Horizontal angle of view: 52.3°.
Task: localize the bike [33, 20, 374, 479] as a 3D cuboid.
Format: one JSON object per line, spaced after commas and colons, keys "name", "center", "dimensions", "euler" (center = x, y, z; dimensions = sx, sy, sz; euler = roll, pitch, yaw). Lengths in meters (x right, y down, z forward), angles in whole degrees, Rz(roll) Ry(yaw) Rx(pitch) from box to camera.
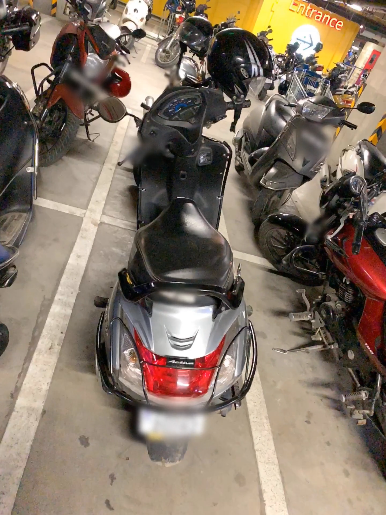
{"name": "bike", "center": [-0.111, -0.161, 1.697], "dimensions": [0.630, 1.089, 1.541], "euler": [13, 36, -16]}
